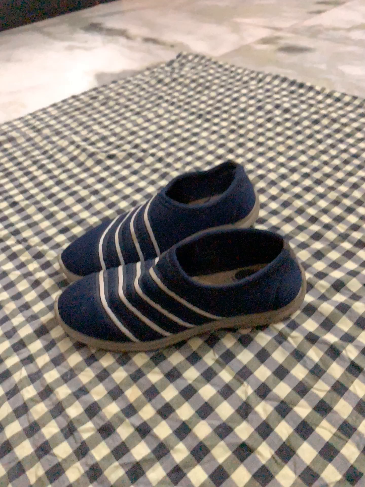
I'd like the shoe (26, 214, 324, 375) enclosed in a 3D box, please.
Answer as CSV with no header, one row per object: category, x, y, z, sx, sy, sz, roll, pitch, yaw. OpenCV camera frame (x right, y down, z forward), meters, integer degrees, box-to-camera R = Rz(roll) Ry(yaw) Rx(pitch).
shoe,-0.006,0.052,0.382,0.250,0.099,0.091,-7,43,-1

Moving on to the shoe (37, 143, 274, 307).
shoe,-0.028,-0.028,0.453,0.250,0.089,0.091,-19,45,-13
